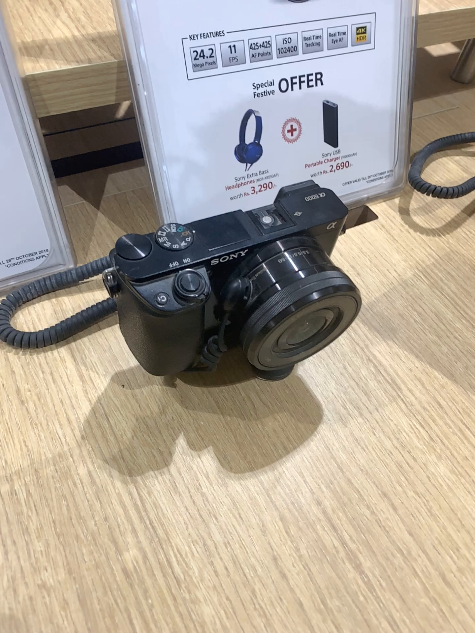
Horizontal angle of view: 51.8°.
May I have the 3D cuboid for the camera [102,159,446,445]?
[{"bbox_3d":[0.013,-0.010,0.224,0.120,0.070,0.070,-20,58,-20],"label":"camera"}]
